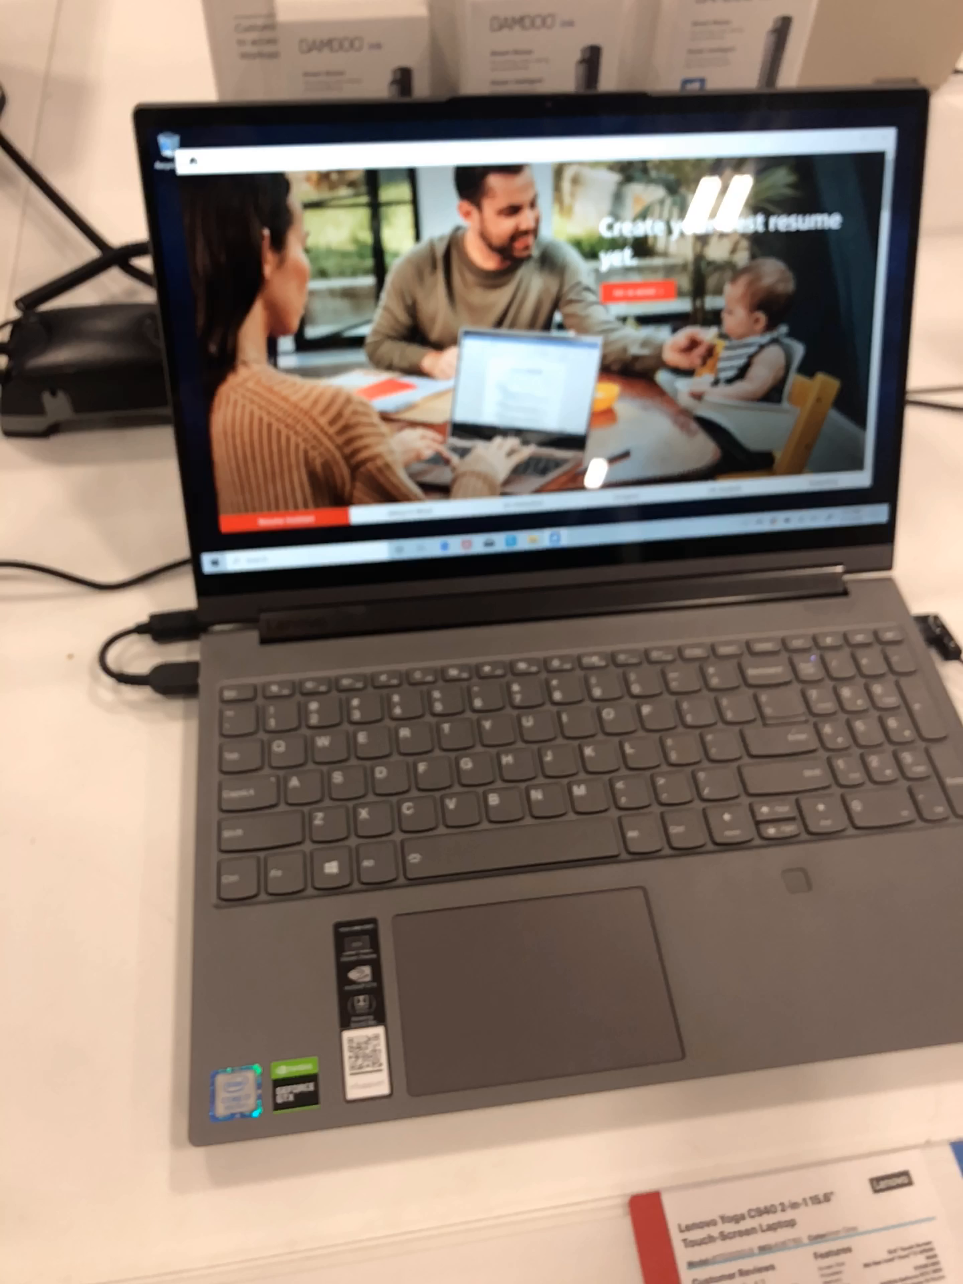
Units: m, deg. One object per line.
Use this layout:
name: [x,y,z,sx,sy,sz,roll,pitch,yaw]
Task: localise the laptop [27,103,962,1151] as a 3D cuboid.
laptop: [0.045,-0.035,0.443,0.345,0.189,0.368,-5,52,-6]
